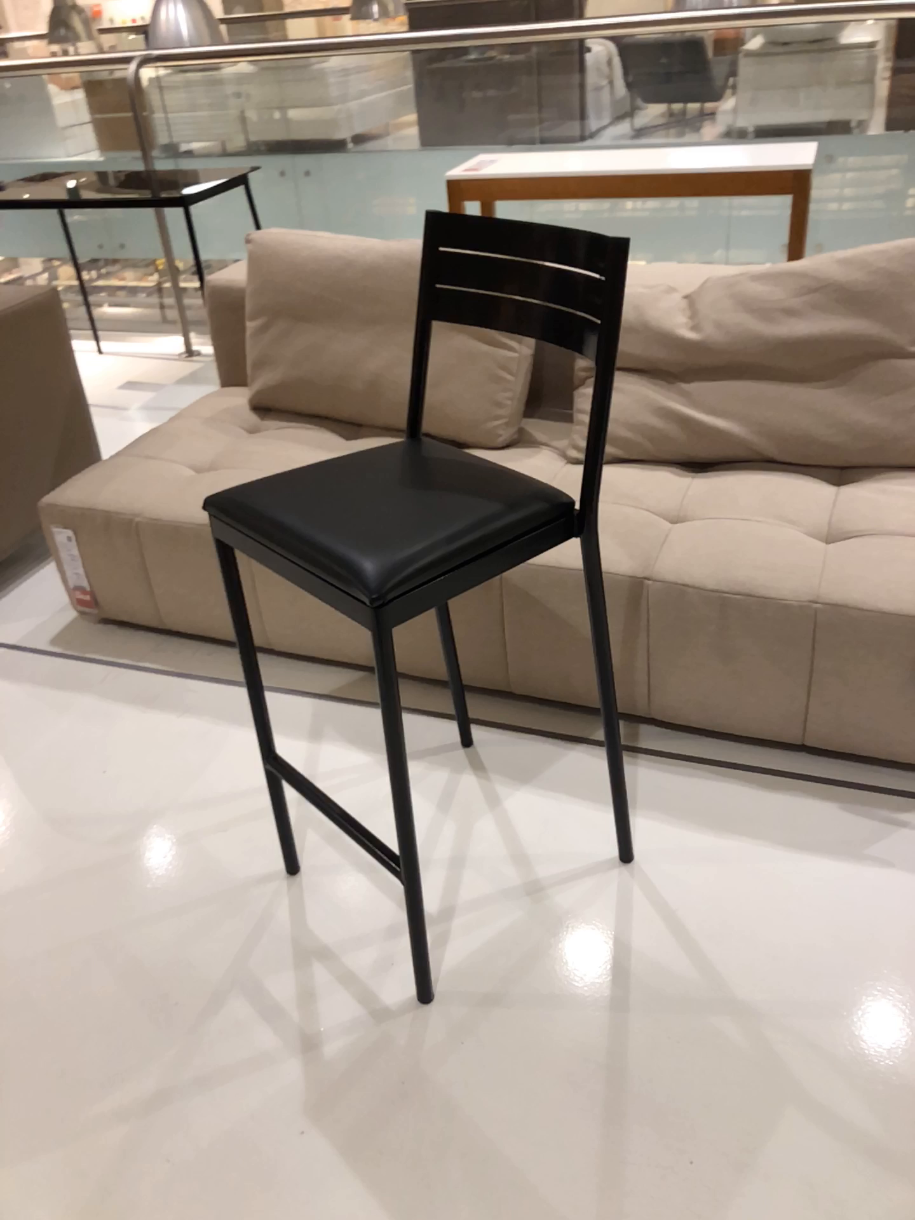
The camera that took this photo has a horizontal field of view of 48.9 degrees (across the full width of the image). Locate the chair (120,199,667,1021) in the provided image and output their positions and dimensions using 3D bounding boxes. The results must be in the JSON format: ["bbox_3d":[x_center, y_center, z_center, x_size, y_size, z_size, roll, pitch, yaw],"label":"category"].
[{"bbox_3d":[-0.037,-0.008,1.395,0.472,0.943,0.422,-28,38,-32],"label":"chair"}]
